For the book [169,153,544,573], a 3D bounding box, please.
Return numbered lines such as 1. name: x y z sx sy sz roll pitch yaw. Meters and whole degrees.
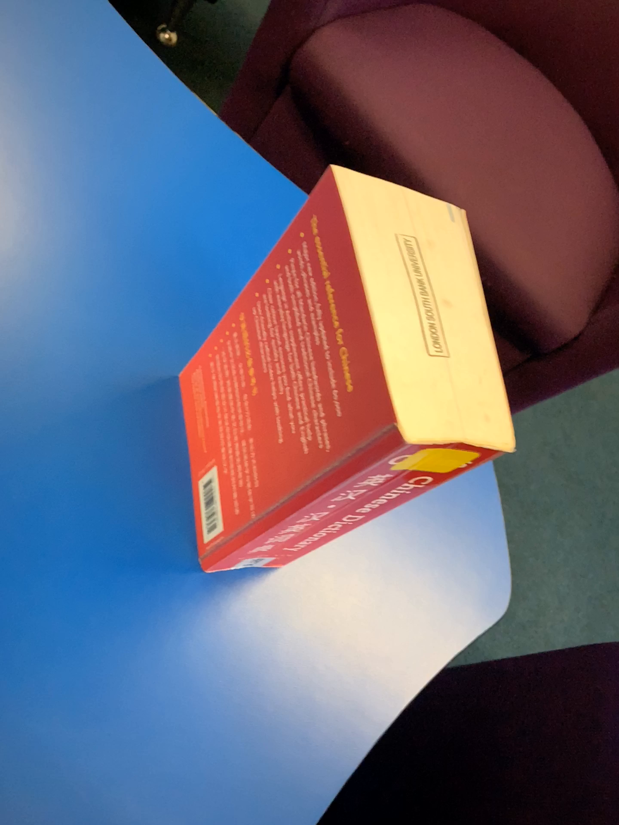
1. book: 0.003 -0.007 0.351 0.080 0.198 0.141 5 62 -33
